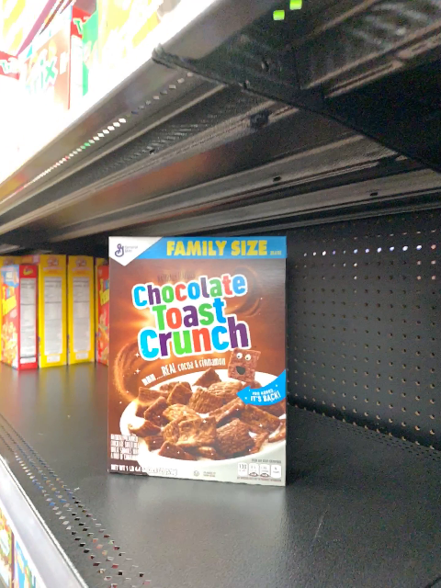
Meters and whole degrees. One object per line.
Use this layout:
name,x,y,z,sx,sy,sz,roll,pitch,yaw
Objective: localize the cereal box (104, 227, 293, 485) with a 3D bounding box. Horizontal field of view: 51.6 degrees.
cereal box,-0.026,0.077,0.615,0.240,0.320,0.070,-1,1,9
